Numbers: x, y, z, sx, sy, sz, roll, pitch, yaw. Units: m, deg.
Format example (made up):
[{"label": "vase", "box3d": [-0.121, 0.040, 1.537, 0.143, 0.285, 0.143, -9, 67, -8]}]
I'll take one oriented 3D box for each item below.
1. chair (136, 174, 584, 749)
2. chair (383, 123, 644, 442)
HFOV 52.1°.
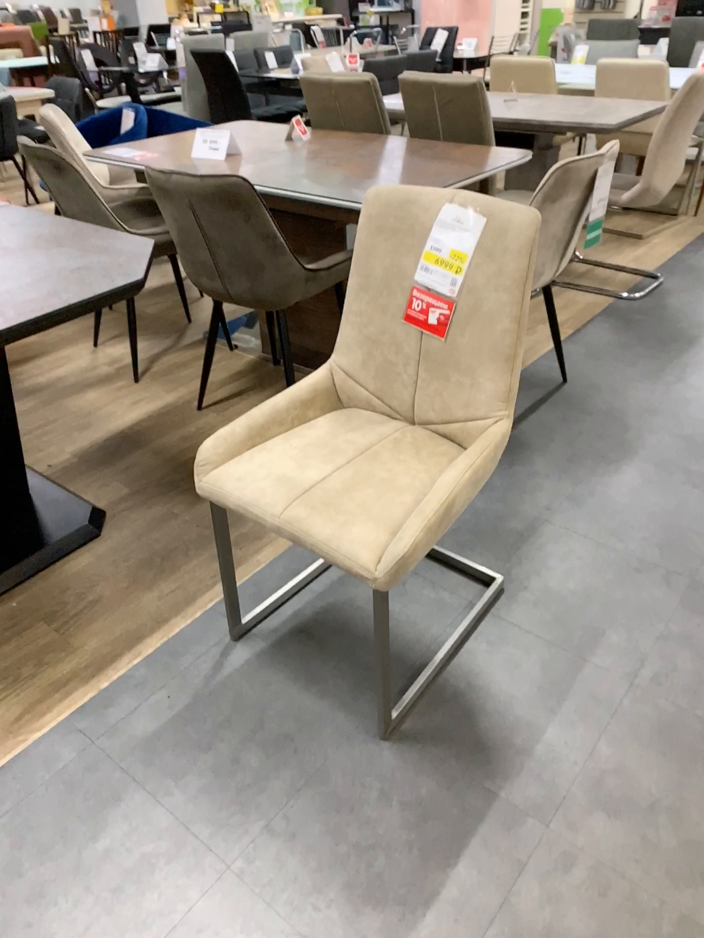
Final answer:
[{"label": "chair", "box3d": [0.045, -0.050, 1.460, 0.510, 0.887, 0.585, 22, 40, 32]}, {"label": "chair", "box3d": [0.501, -0.647, 2.419, 0.625, 0.841, 0.482, 23, 40, 33]}]
